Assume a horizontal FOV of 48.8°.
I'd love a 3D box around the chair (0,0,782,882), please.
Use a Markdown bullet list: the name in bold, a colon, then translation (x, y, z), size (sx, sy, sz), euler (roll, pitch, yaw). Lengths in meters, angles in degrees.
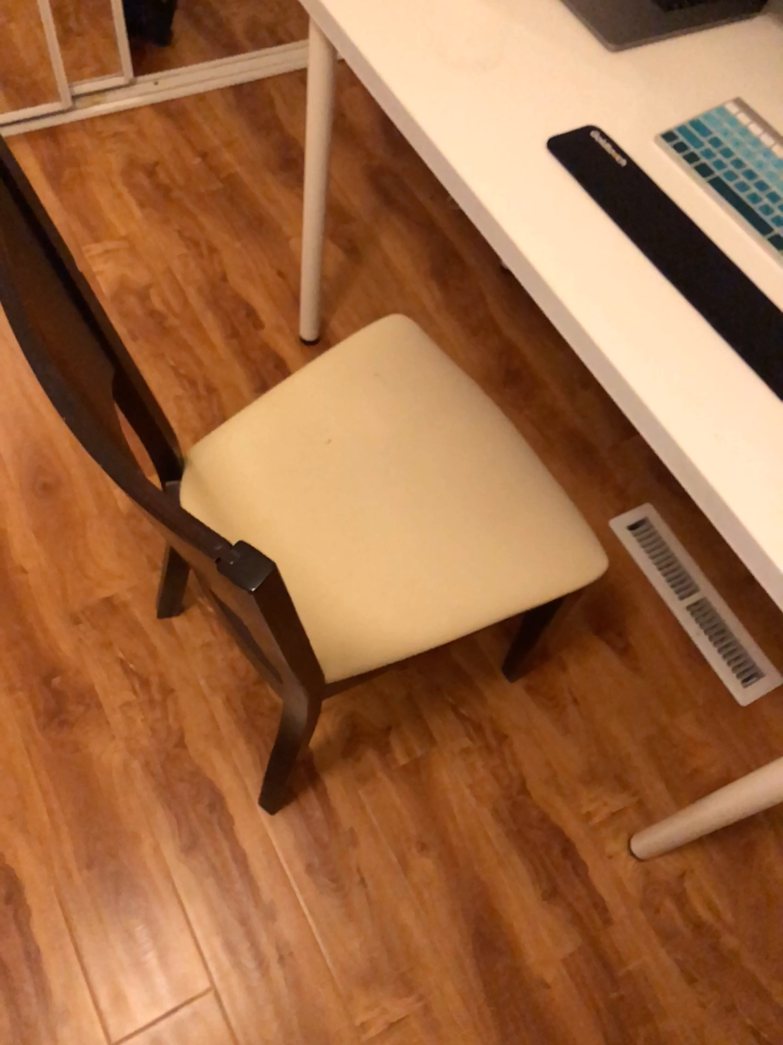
- **chair**: translation (-0.021, -0.077, 1.021), size (0.661, 0.887, 0.571), euler (-25, 67, -20)
